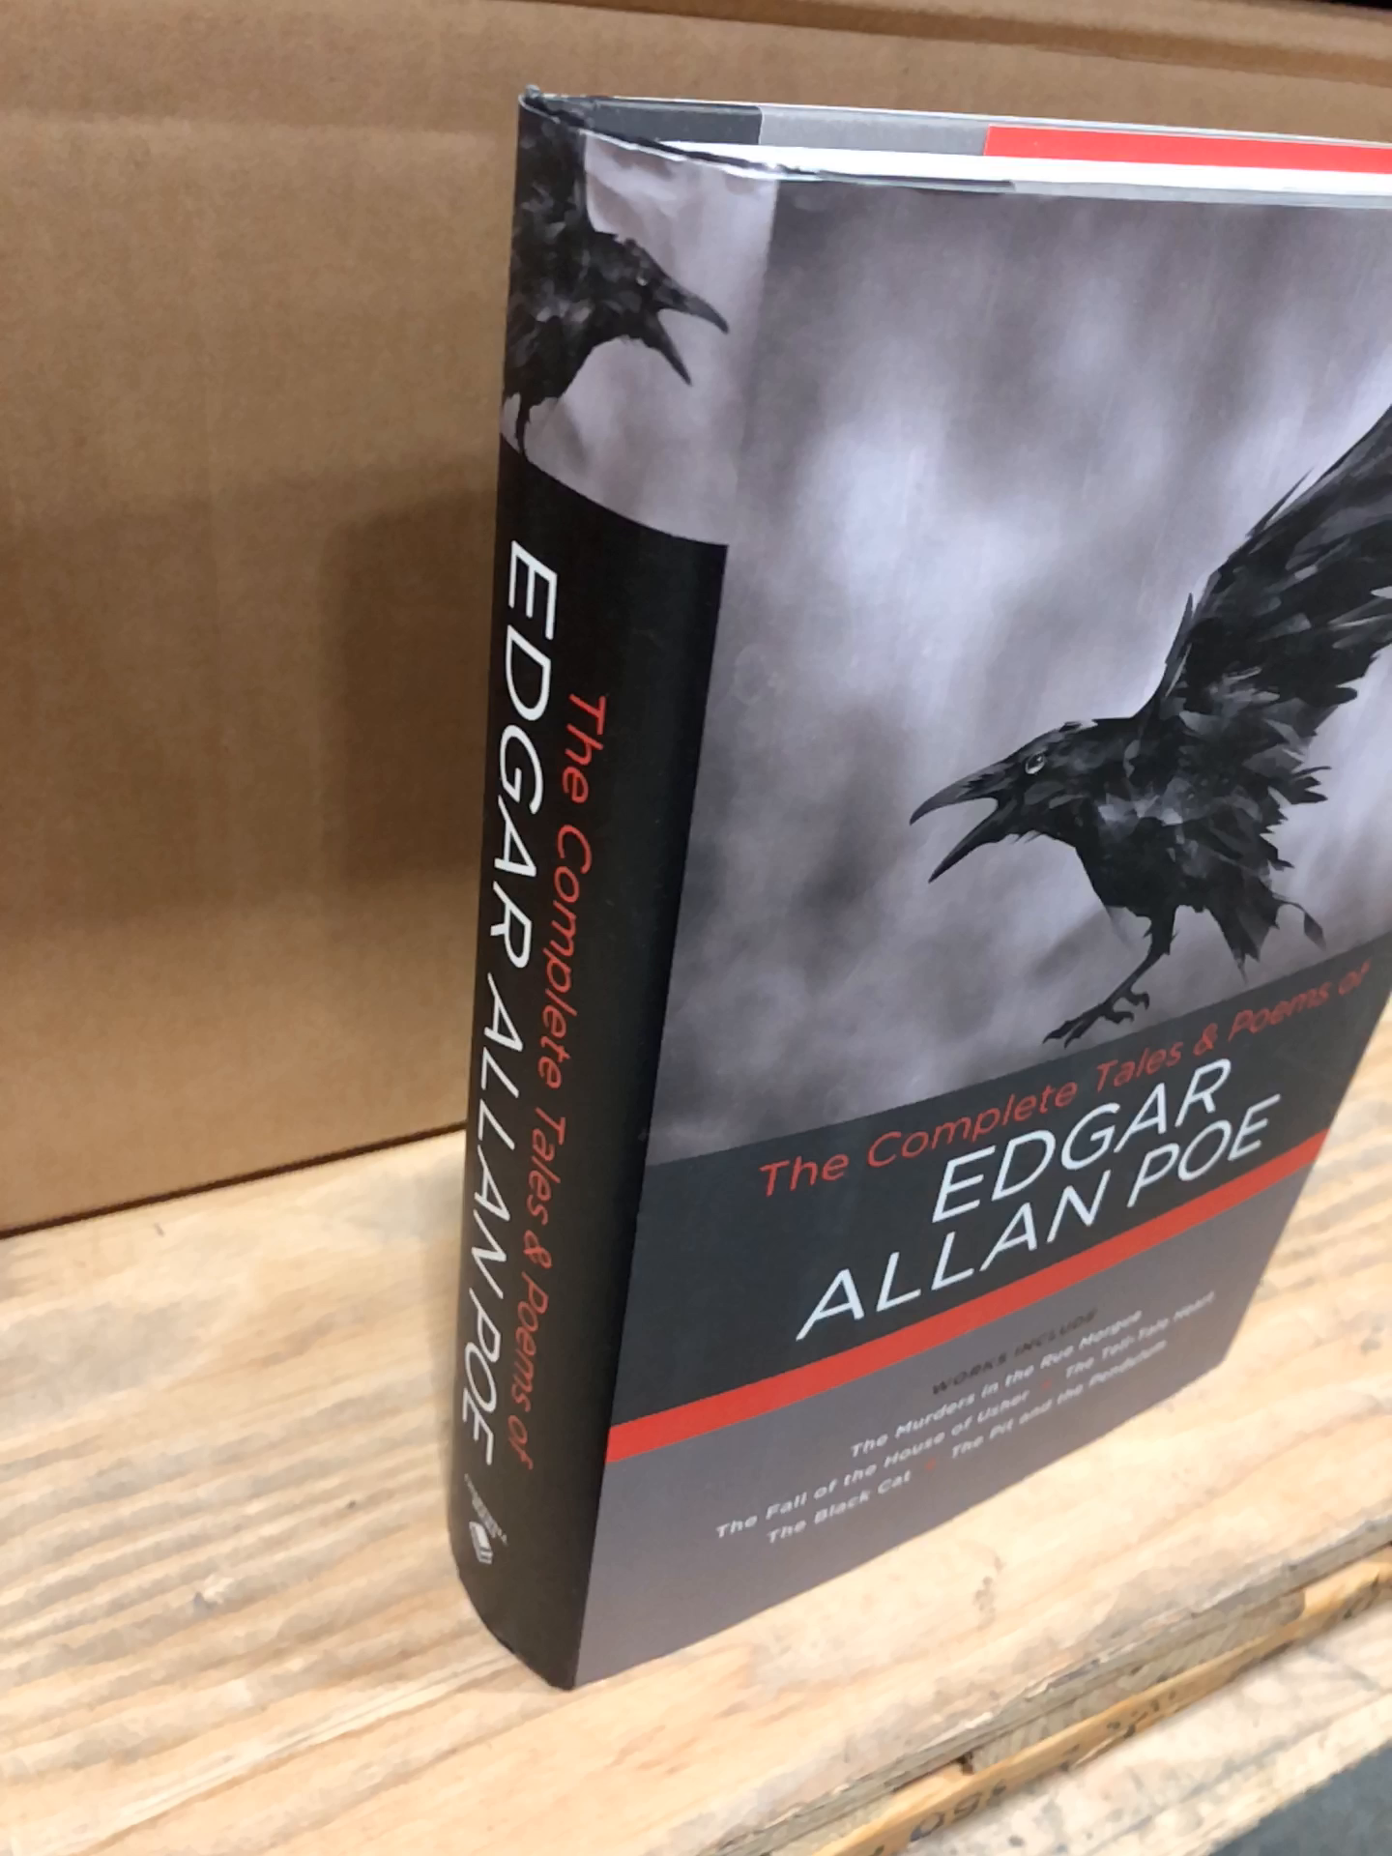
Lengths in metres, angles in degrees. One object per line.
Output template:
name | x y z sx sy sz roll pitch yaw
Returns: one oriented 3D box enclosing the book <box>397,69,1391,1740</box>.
book | 0.045 0.005 0.256 0.171 0.240 0.054 -14 40 -30
